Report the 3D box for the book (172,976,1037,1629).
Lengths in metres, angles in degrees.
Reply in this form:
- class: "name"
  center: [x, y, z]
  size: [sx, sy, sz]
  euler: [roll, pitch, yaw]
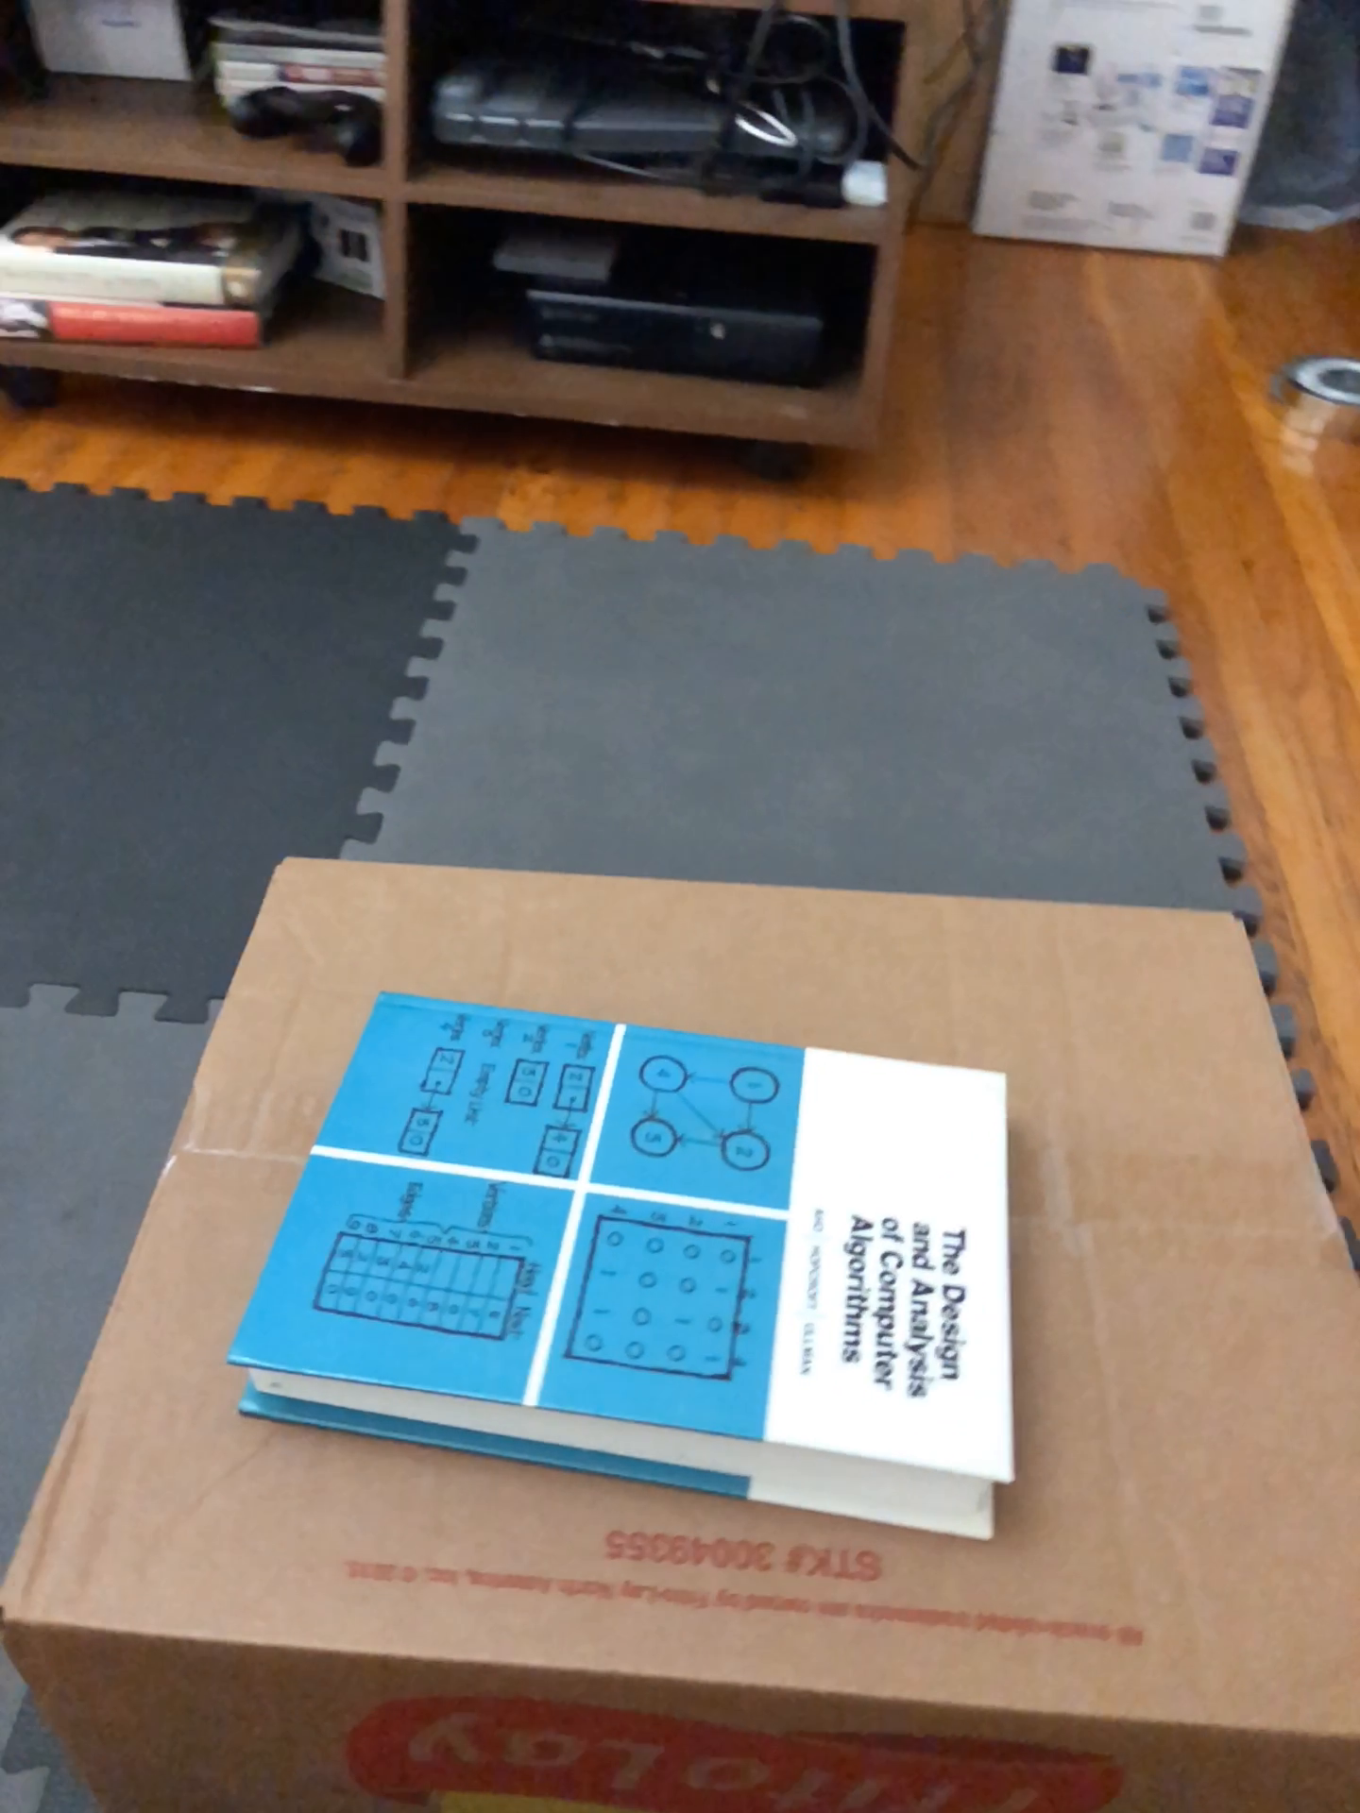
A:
- class: "book"
  center: [-0.011, 0.124, 0.525]
  size: [0.260, 0.040, 0.191]
  euler: [8, 43, 5]
